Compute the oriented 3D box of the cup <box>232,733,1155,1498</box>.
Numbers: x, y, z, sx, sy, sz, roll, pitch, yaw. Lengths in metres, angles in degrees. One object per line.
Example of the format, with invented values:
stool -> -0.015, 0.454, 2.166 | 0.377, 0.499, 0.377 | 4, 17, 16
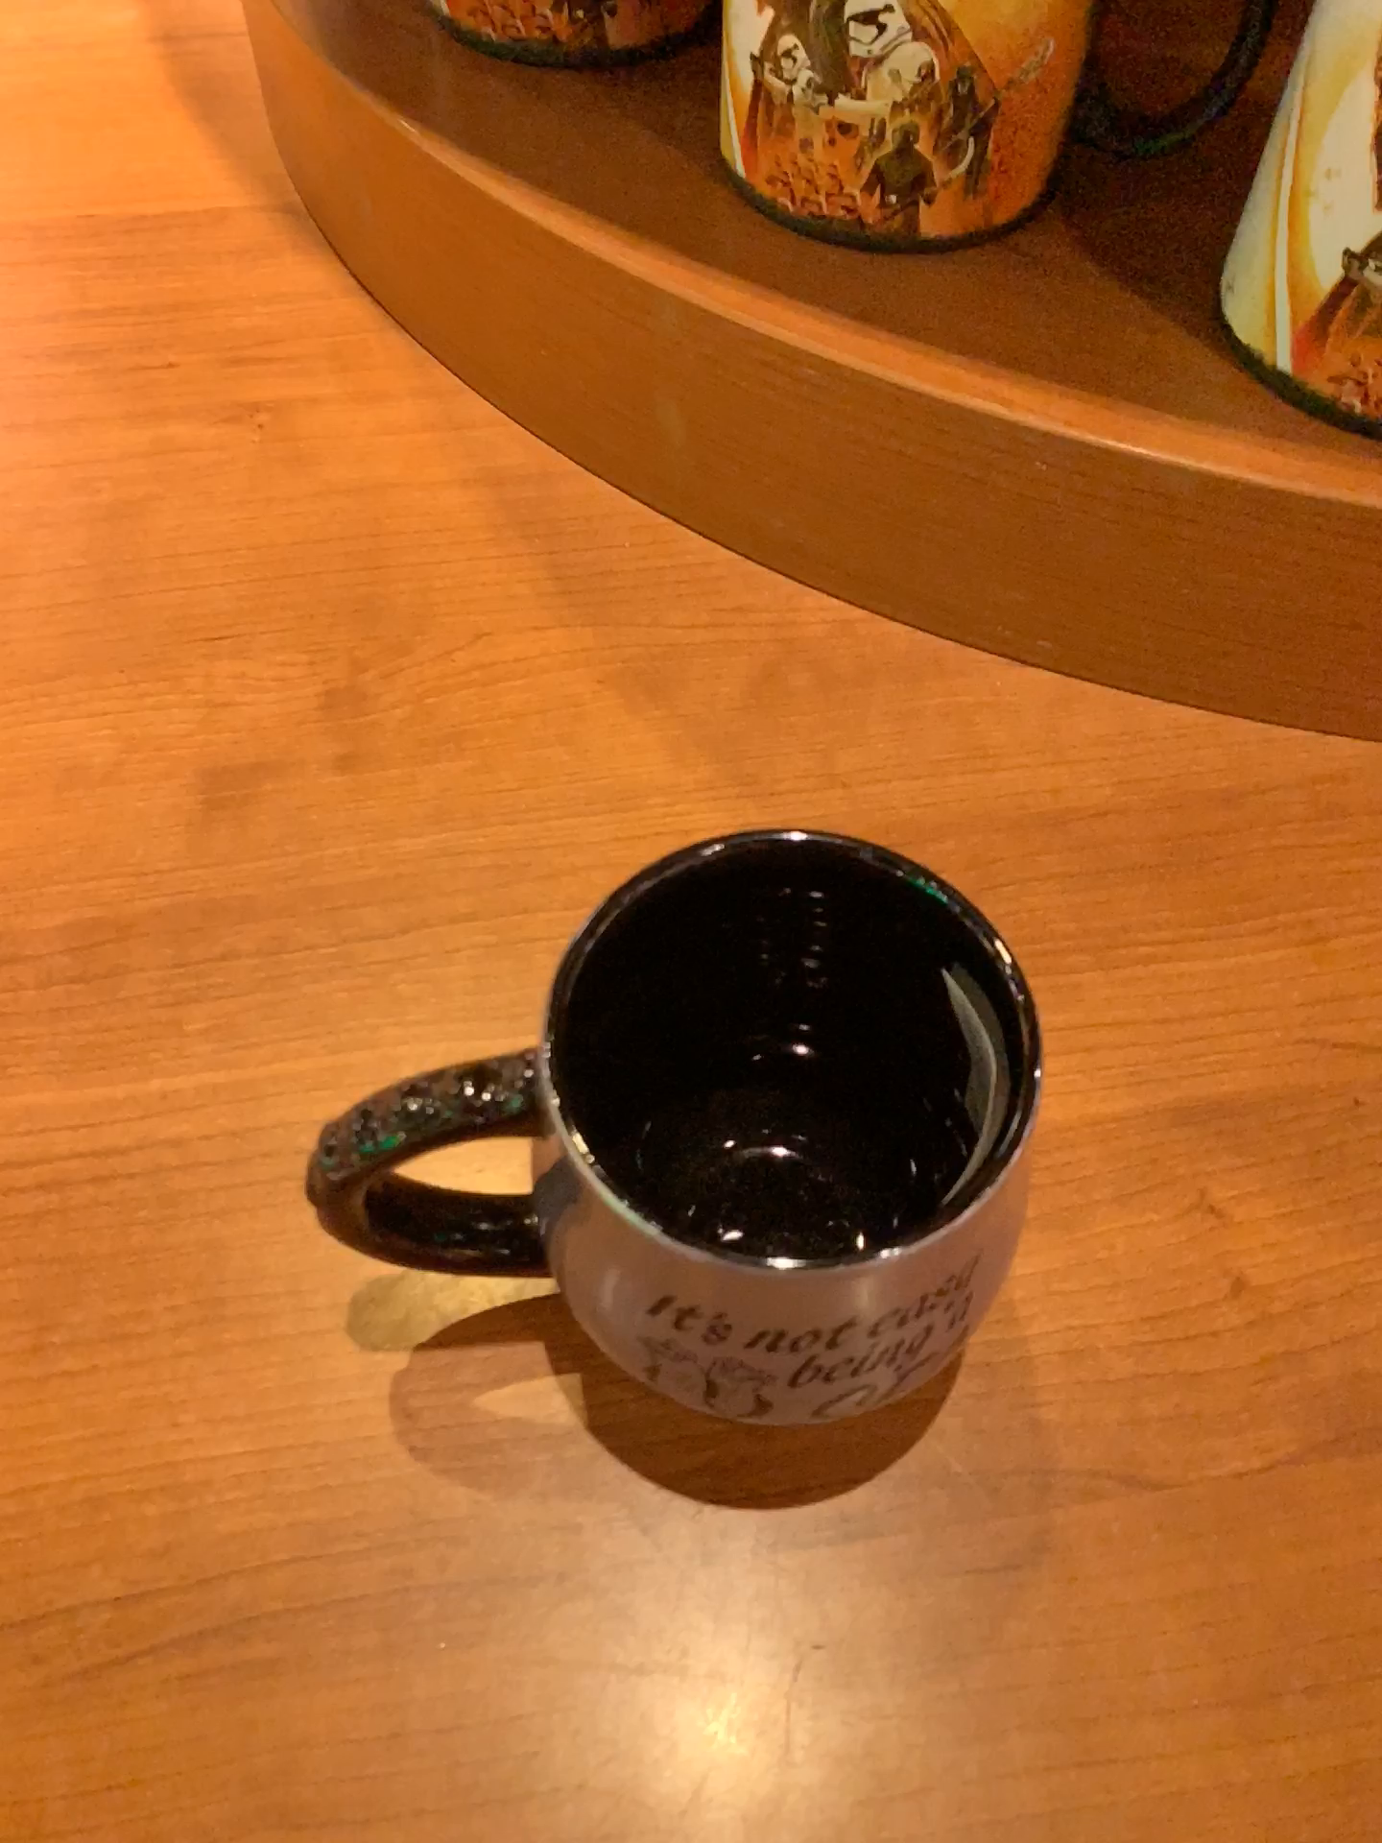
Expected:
cup -> -0.005, 0.036, 0.250 | 0.125, 0.089, 0.087 | -8, 57, -6
